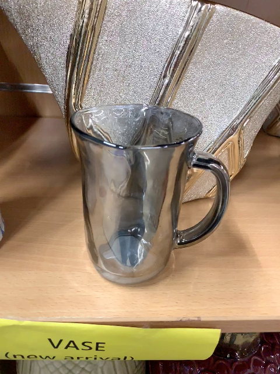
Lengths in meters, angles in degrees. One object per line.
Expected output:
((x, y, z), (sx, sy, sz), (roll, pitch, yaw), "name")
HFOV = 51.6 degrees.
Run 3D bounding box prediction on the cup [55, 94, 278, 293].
((0.011, 0.004, 0.200), (0.110, 0.110, 0.070), (3, 31, -1), "cup")
